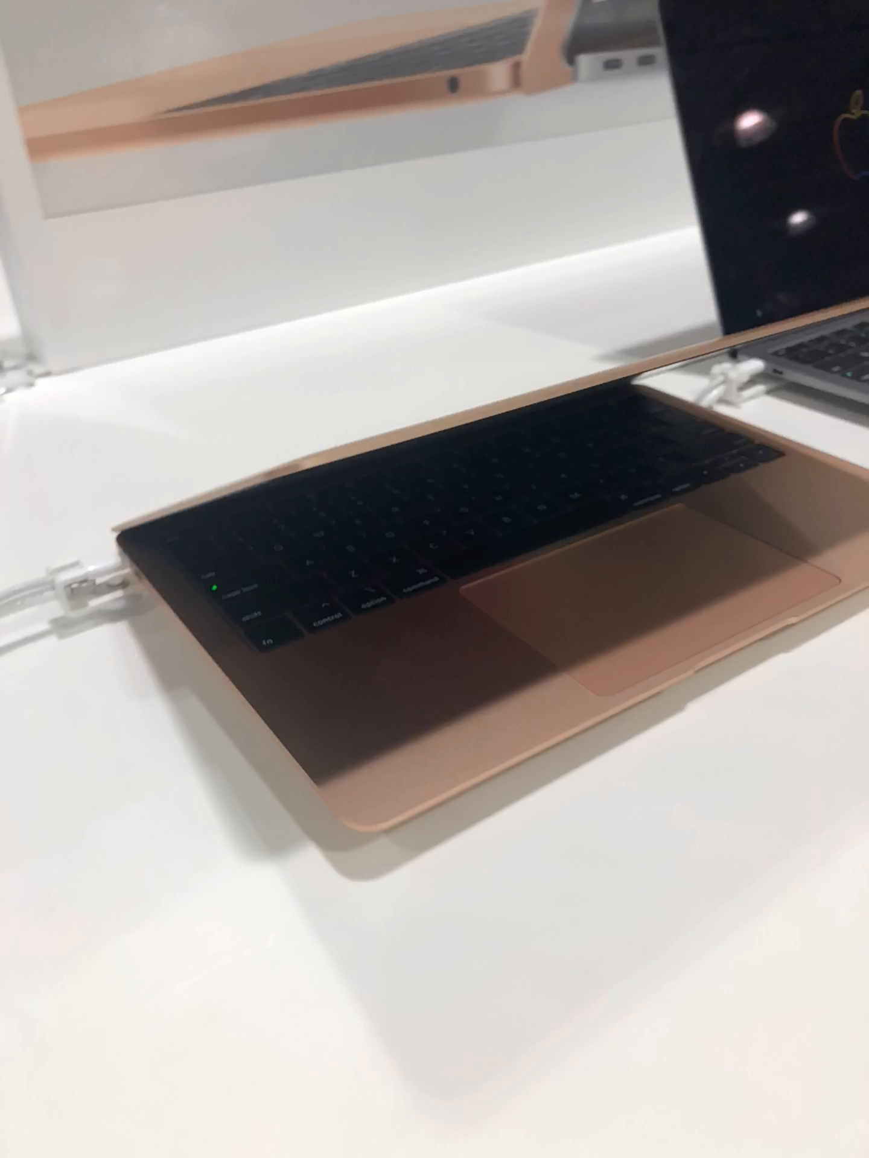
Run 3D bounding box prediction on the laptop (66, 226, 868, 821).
[{"bbox_3d":[0.039,-0.059,0.383,0.285,0.091,0.209,-20,34,-28],"label":"laptop"}]
